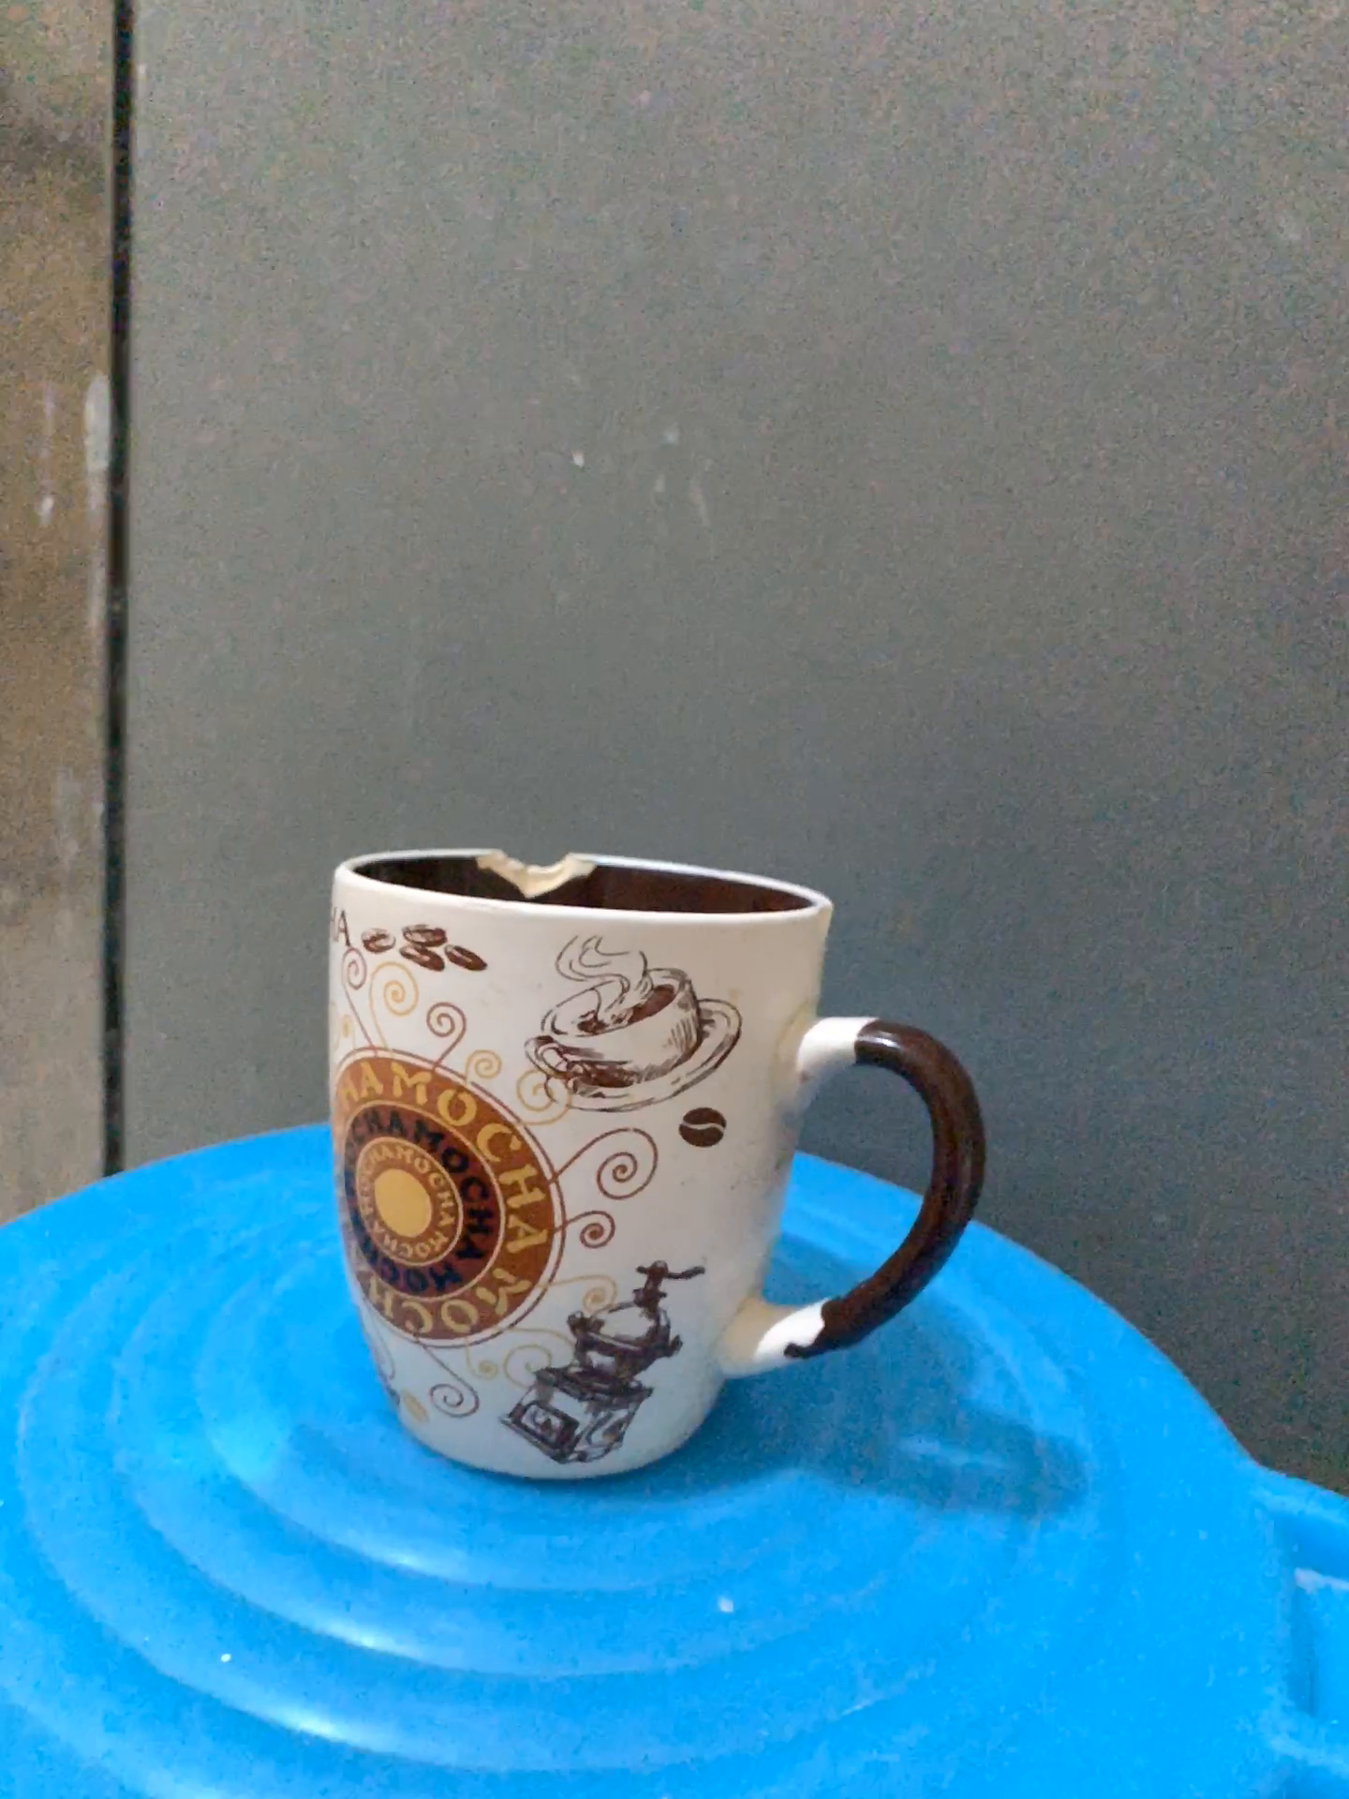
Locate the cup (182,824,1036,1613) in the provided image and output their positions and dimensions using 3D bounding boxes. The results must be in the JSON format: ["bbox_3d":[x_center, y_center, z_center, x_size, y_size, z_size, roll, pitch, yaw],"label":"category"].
[{"bbox_3d":[-0.007,0.037,0.222,0.109,0.083,0.070,7,8,18],"label":"cup"}]
